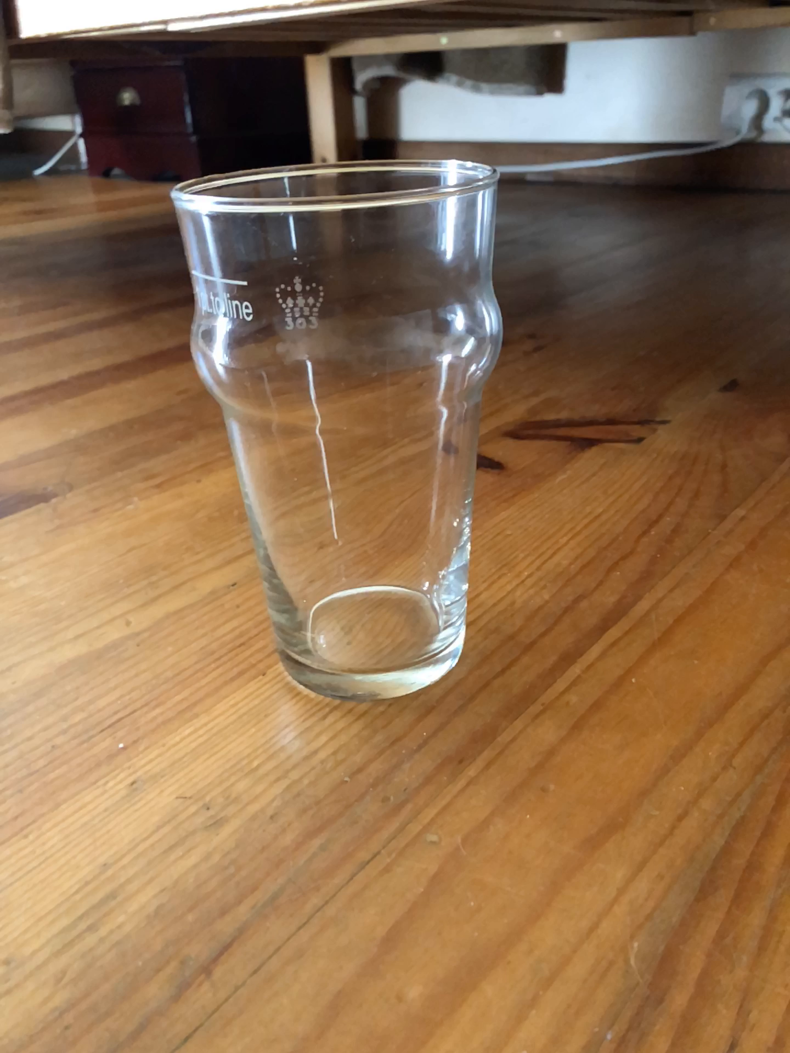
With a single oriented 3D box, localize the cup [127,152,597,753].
[{"bbox_3d":[0.000,-0.030,0.277,0.094,0.151,0.092,-4,30,2],"label":"cup"}]
